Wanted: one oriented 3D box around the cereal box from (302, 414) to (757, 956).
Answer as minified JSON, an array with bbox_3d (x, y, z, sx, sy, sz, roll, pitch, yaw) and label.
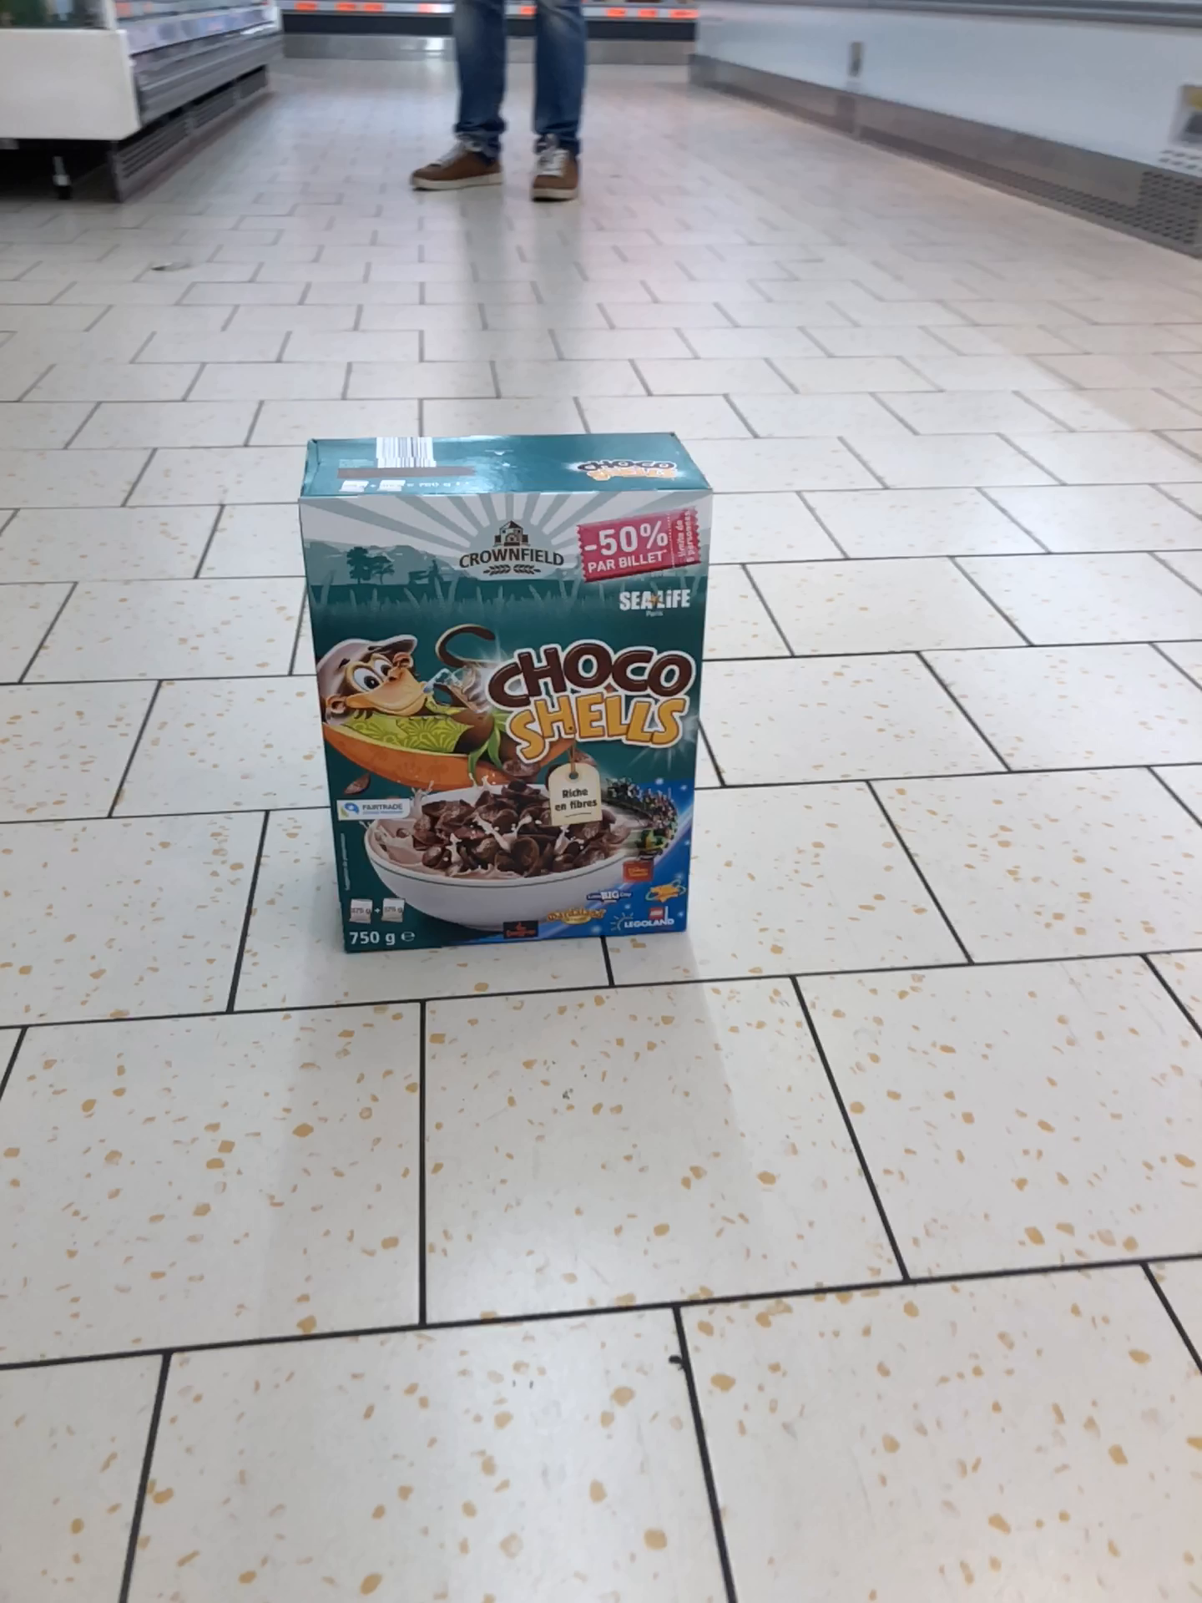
[{"bbox_3d":[-0.039,-0.061,0.718,0.210,0.268,0.101,-3,31,-7],"label":"cereal box"}]
